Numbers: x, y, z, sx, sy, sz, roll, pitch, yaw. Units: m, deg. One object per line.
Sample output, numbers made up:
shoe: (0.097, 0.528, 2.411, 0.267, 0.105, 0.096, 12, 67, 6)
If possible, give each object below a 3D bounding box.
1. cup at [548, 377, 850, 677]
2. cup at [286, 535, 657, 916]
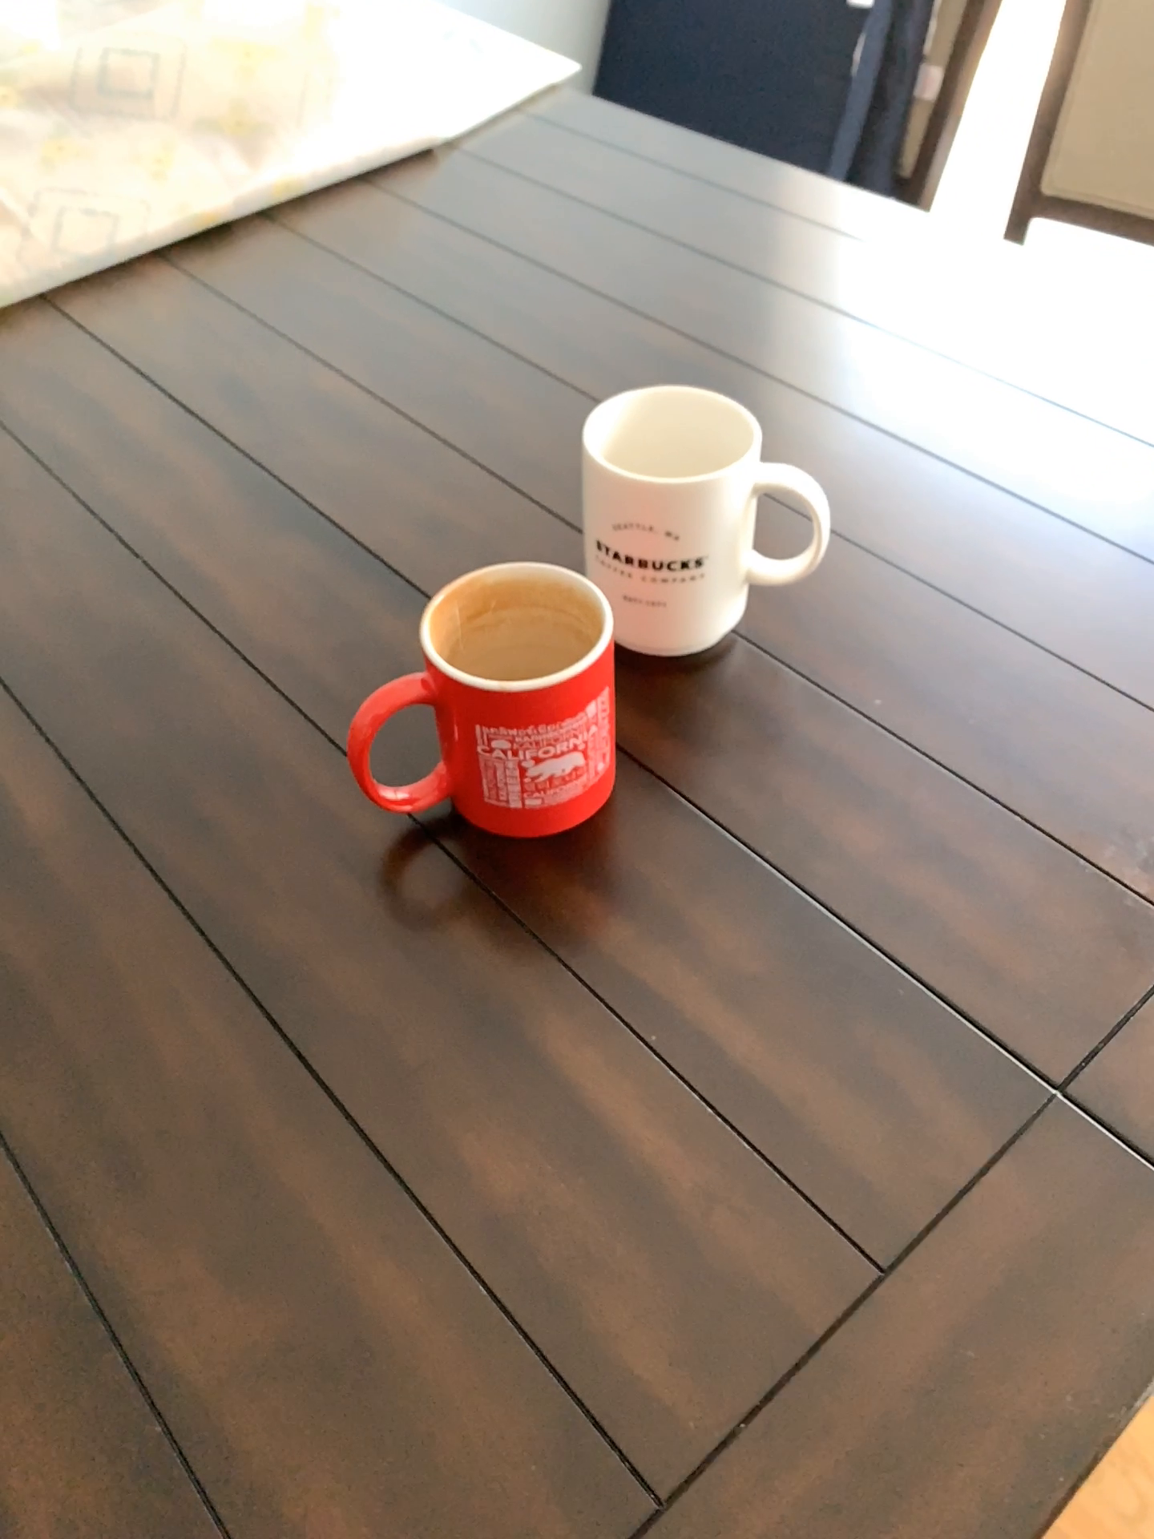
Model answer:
cup: (0.061, -0.121, 0.597, 0.130, 0.110, 0.080, 7, 48, 10)
cup: (-0.043, -0.021, 0.528, 0.130, 0.100, 0.090, -19, 48, -14)
